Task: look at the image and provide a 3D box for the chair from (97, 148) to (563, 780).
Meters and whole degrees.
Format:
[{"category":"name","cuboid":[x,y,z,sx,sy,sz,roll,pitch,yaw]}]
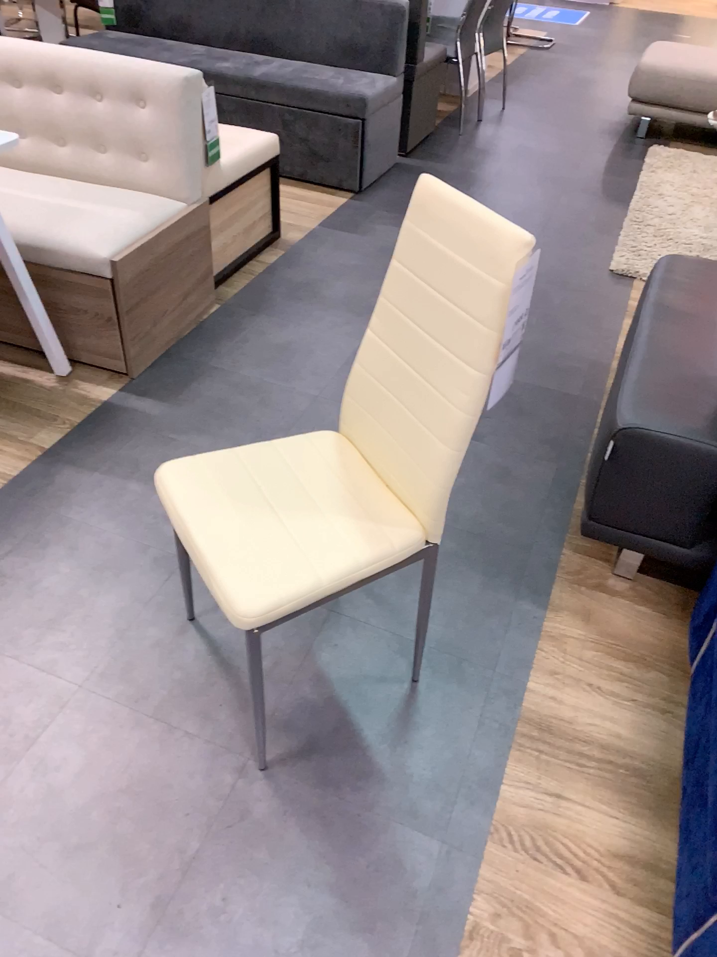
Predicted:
[{"category":"chair","cuboid":[-0.079,0.001,1.290,0.478,0.940,0.447,-18,45,-24]}]
